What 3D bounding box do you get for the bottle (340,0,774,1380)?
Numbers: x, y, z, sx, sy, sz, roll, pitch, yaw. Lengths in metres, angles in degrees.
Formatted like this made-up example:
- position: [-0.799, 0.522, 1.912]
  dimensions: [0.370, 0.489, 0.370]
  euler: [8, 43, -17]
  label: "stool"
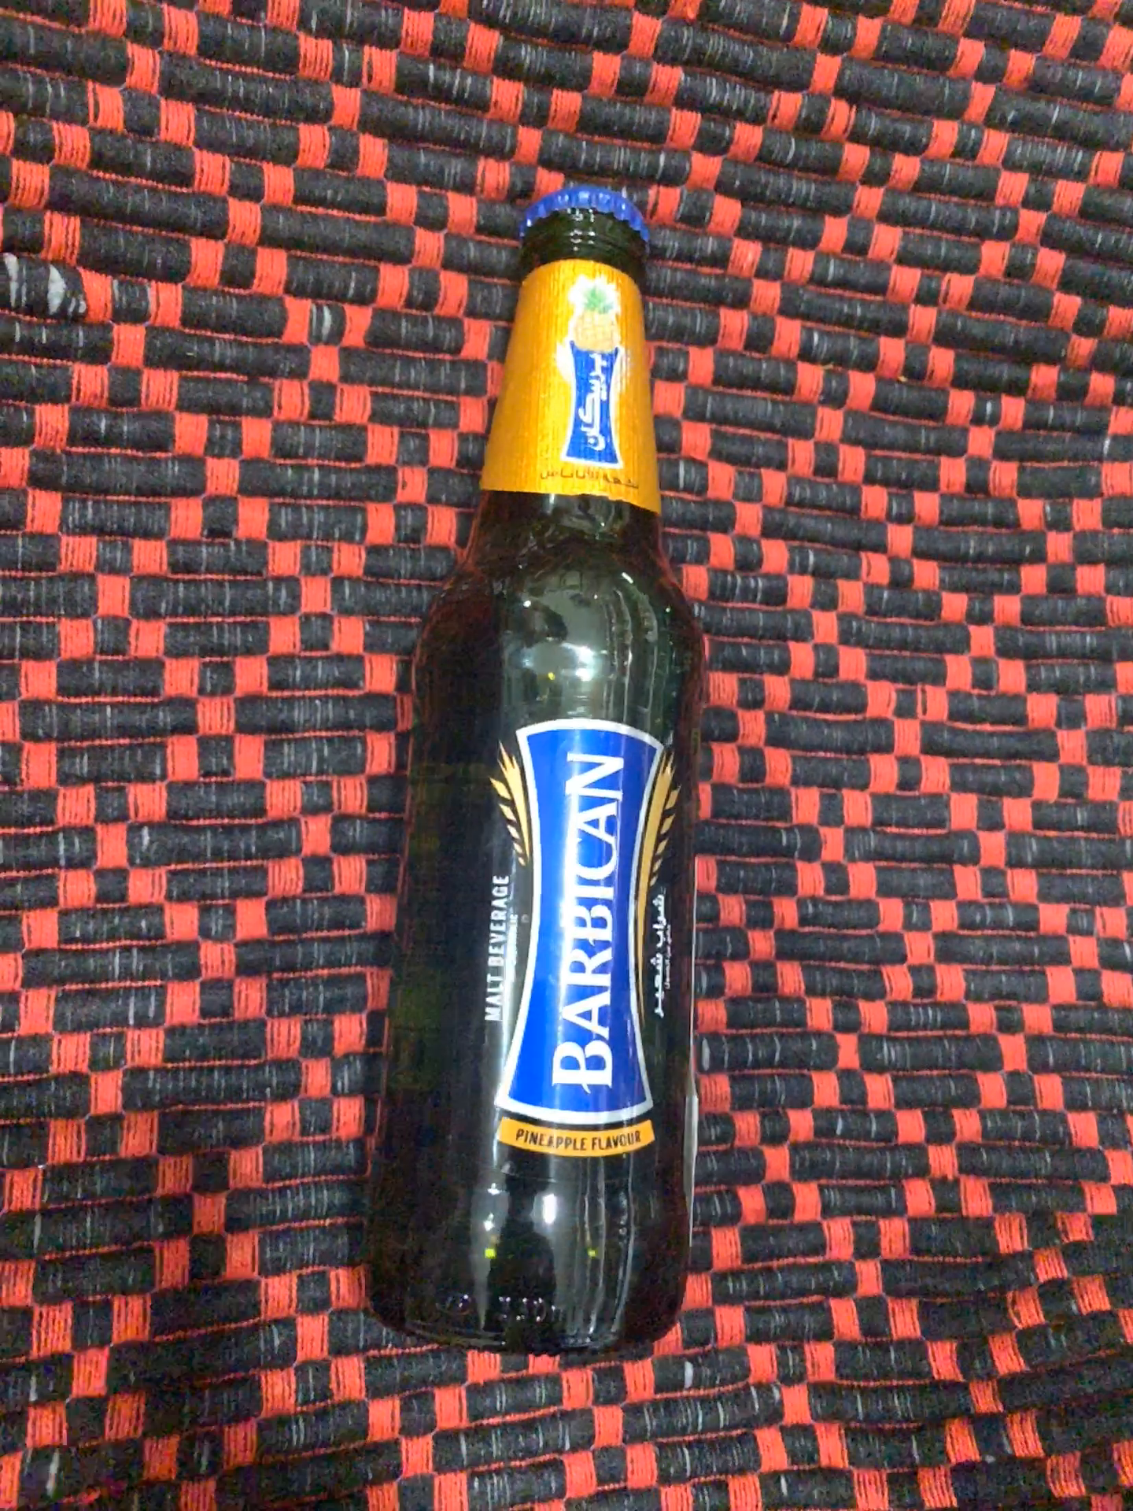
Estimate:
- position: [-0.003, -0.020, 0.241]
  dimensions: [0.060, 0.070, 0.250]
  euler: [6, 74, -15]
  label: "bottle"
